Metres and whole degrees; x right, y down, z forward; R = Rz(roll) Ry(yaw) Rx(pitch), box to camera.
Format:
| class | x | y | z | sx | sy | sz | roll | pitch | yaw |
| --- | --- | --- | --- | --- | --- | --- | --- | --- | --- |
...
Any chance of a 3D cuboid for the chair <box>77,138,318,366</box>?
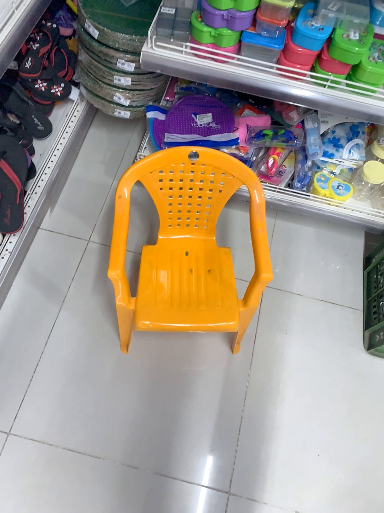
| class | x | y | z | sx | sy | sz | roll | pitch | yaw |
| --- | --- | --- | --- | --- | --- | --- | --- | --- | --- |
| chair | -0.003 | 0.030 | 0.931 | 0.400 | 0.460 | 0.360 | 2 | 64 | -4 |
